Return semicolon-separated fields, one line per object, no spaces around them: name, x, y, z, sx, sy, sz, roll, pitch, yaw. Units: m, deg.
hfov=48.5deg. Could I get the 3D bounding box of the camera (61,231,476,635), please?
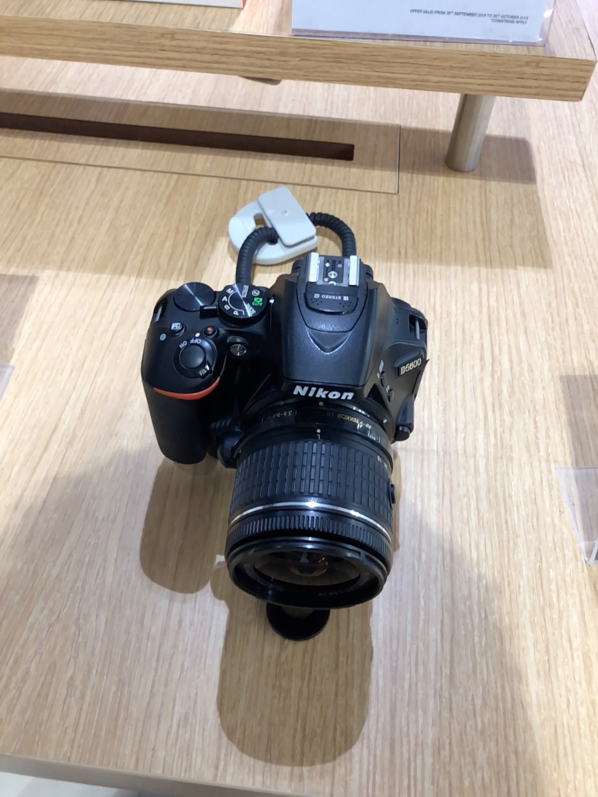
camera;-0.005;0.010;0.258;0.120;0.070;0.131;5;53;1
